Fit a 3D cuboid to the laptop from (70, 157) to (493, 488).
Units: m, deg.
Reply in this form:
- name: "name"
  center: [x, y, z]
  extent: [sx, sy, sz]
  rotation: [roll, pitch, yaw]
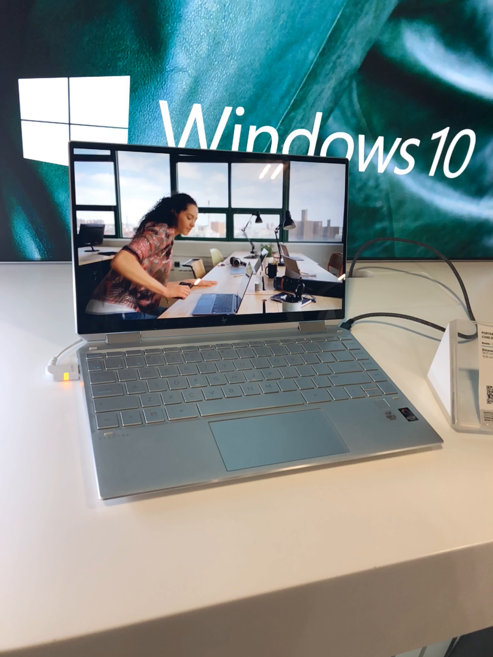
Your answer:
- name: "laptop"
  center: [0.008, -0.025, 0.470]
  extent: [0.281, 0.194, 0.240]
  rotation: [-3, 28, -22]
